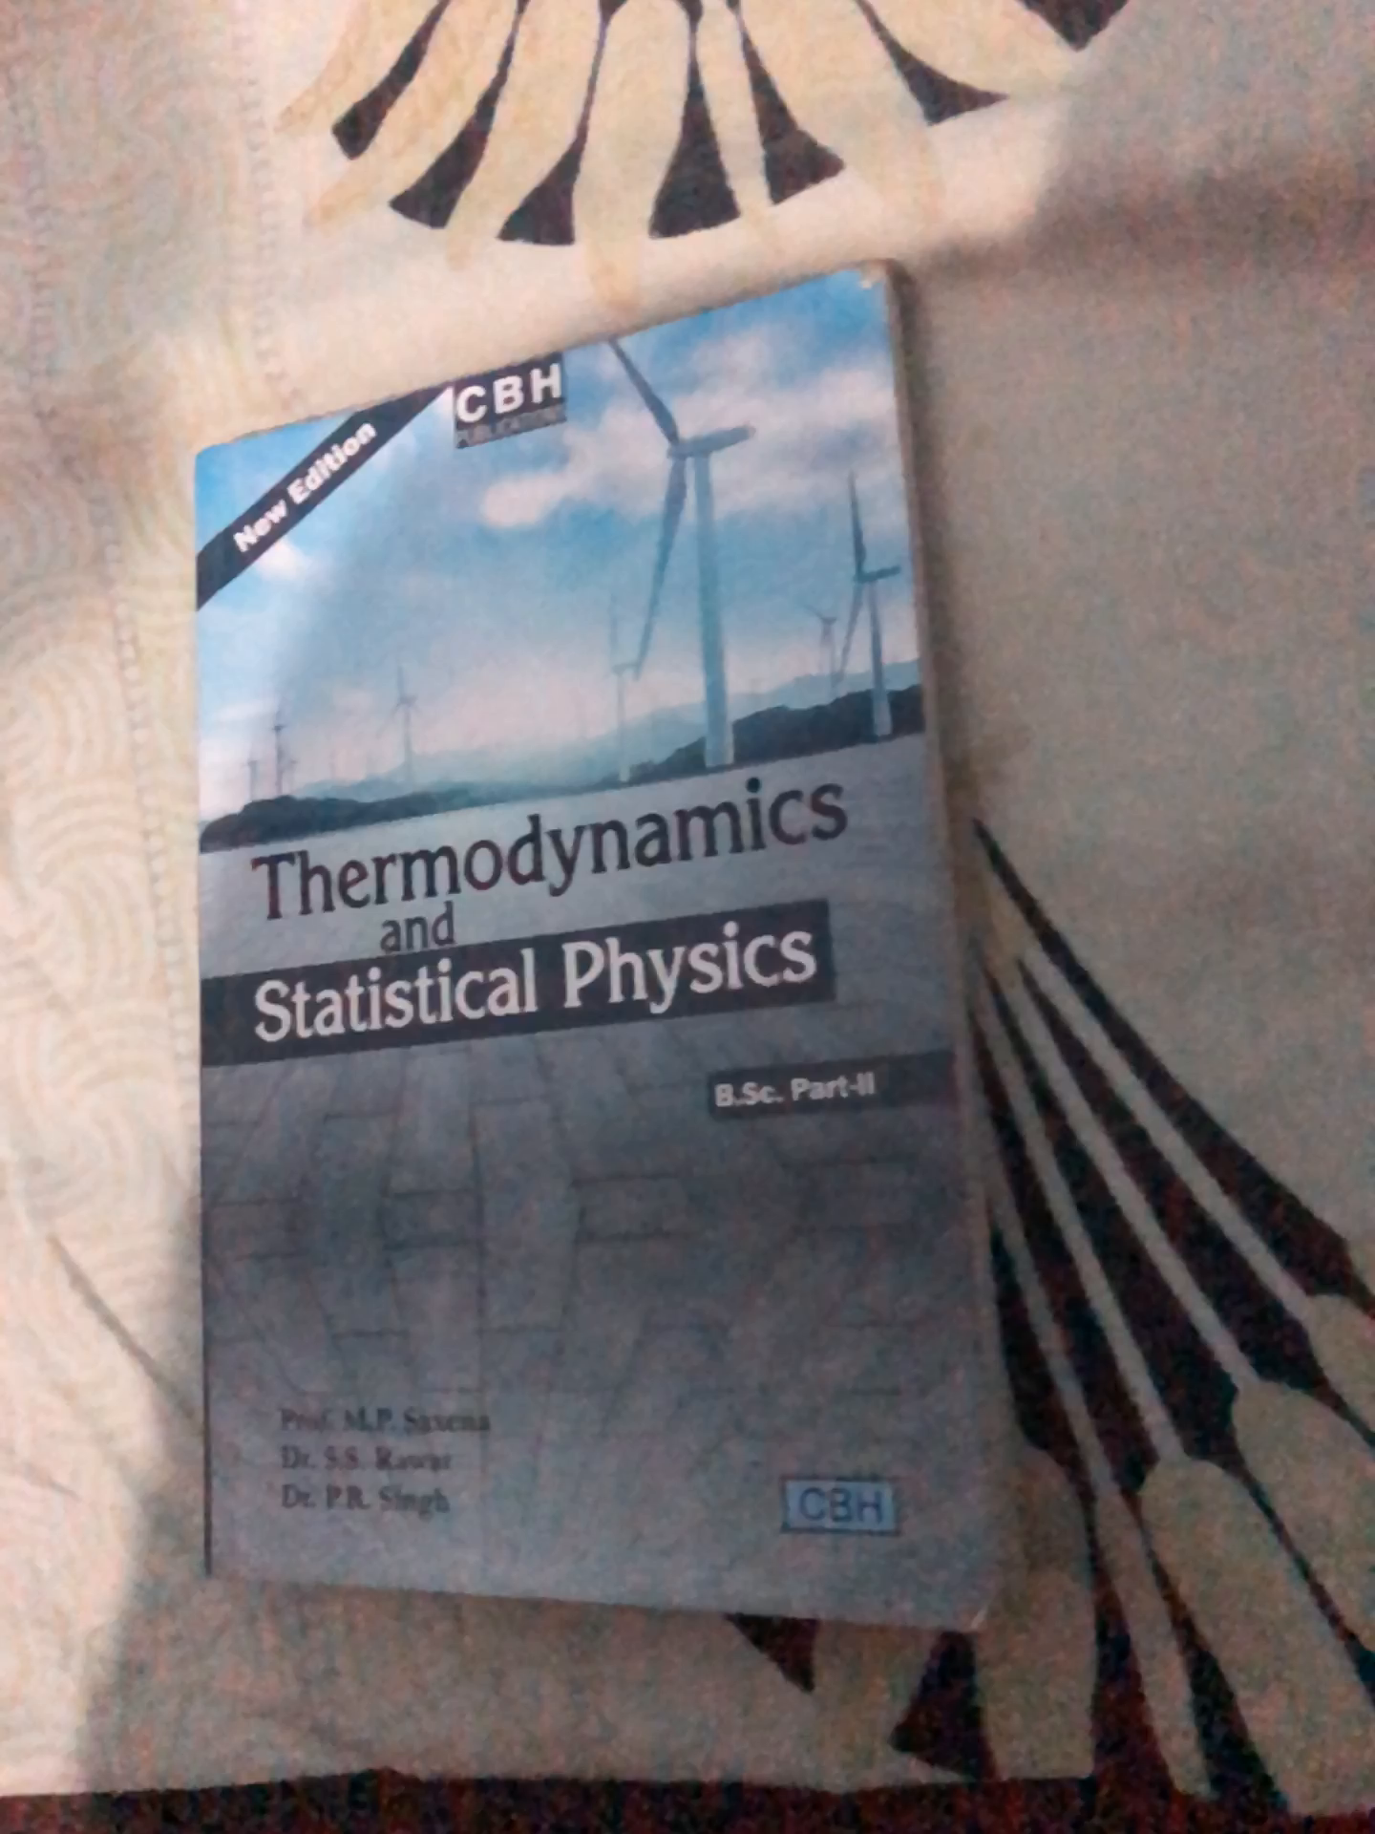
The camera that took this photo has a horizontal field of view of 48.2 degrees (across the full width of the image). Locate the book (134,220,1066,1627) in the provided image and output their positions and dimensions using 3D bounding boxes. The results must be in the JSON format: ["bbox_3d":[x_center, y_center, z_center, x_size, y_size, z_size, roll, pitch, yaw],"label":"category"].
[{"bbox_3d":[-0.027,0.007,0.307,0.170,0.030,0.240,-8,84,23],"label":"book"}]
